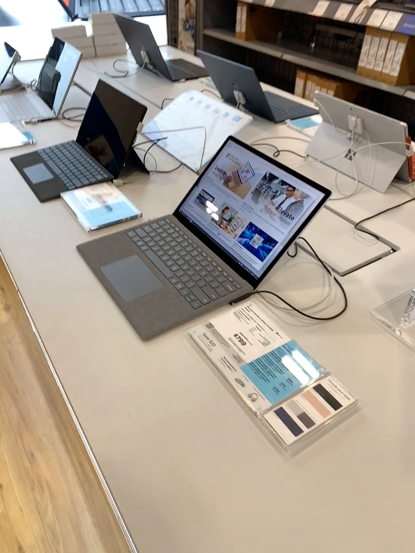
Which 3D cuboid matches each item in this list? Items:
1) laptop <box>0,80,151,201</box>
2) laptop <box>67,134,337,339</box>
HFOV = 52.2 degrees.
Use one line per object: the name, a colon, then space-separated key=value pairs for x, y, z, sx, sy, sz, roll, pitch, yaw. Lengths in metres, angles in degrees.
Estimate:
laptop: x=-0.344 y=-0.371 z=1.105 sx=0.290 sy=0.157 sz=0.290 roll=-24 pitch=45 yaw=-26
laptop: x=-0.018 y=-0.106 z=0.790 sx=0.374 sy=0.148 sz=0.297 roll=-23 pitch=44 yaw=-24
